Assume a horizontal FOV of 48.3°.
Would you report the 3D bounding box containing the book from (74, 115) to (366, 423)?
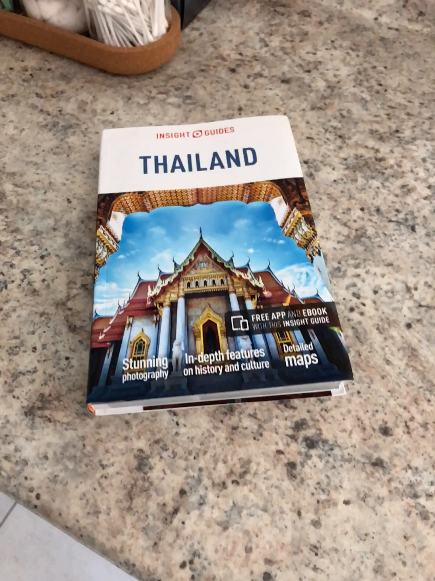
[{"bbox_3d":[-0.007,-0.034,0.352,0.164,0.030,0.241,-4,56,-1],"label":"book"}]
